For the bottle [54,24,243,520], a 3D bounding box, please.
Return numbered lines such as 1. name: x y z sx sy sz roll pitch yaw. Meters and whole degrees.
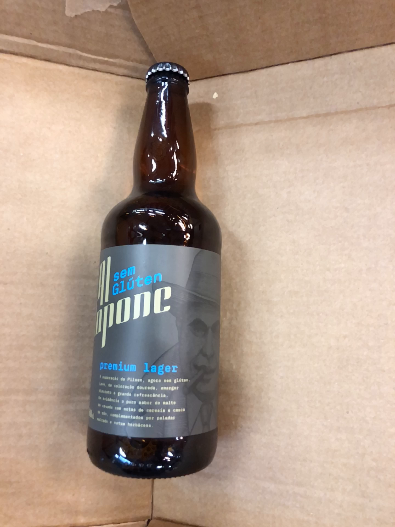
1. bottle: -0.017 -0.004 0.242 0.080 0.060 0.240 0 78 6
